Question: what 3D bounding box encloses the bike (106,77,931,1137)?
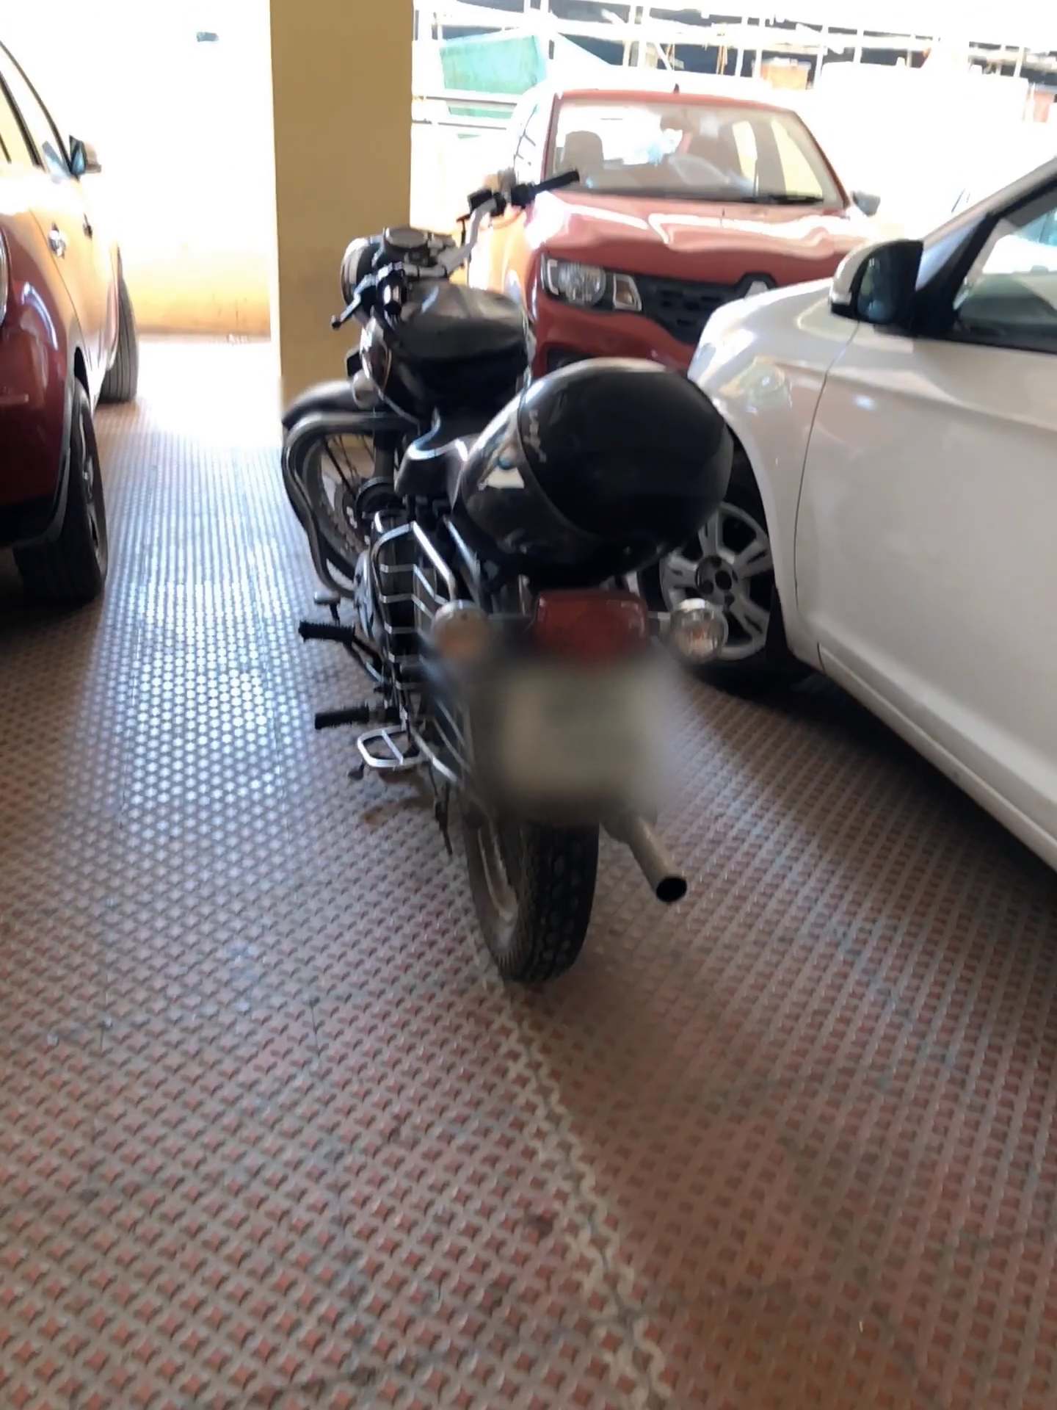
[{"bbox_3d":[-0.275,-0.392,2.160,0.692,1.217,1.792,-7,31,-21],"label":"bike"}]
